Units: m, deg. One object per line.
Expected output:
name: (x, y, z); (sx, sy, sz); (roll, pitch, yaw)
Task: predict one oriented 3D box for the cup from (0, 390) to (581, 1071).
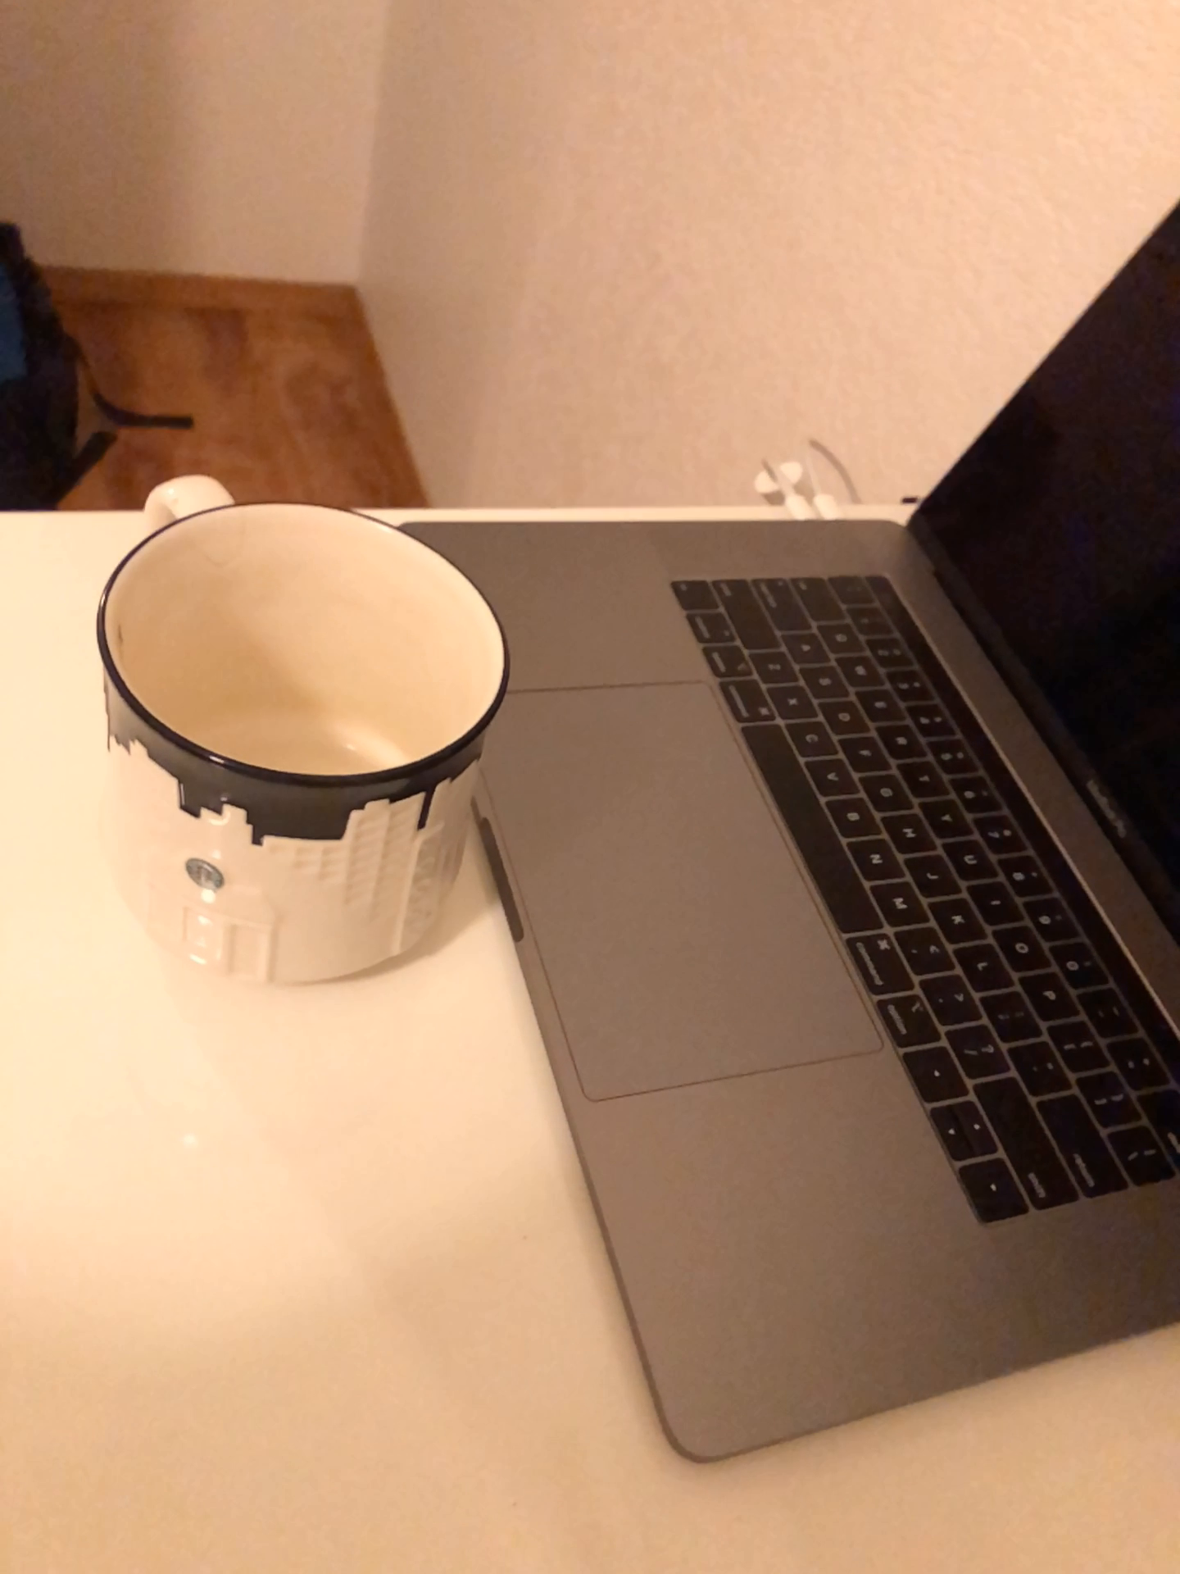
cup: (-0.095, -0.023, 0.390); (0.100, 0.109, 0.150); (-18, 57, -30)
